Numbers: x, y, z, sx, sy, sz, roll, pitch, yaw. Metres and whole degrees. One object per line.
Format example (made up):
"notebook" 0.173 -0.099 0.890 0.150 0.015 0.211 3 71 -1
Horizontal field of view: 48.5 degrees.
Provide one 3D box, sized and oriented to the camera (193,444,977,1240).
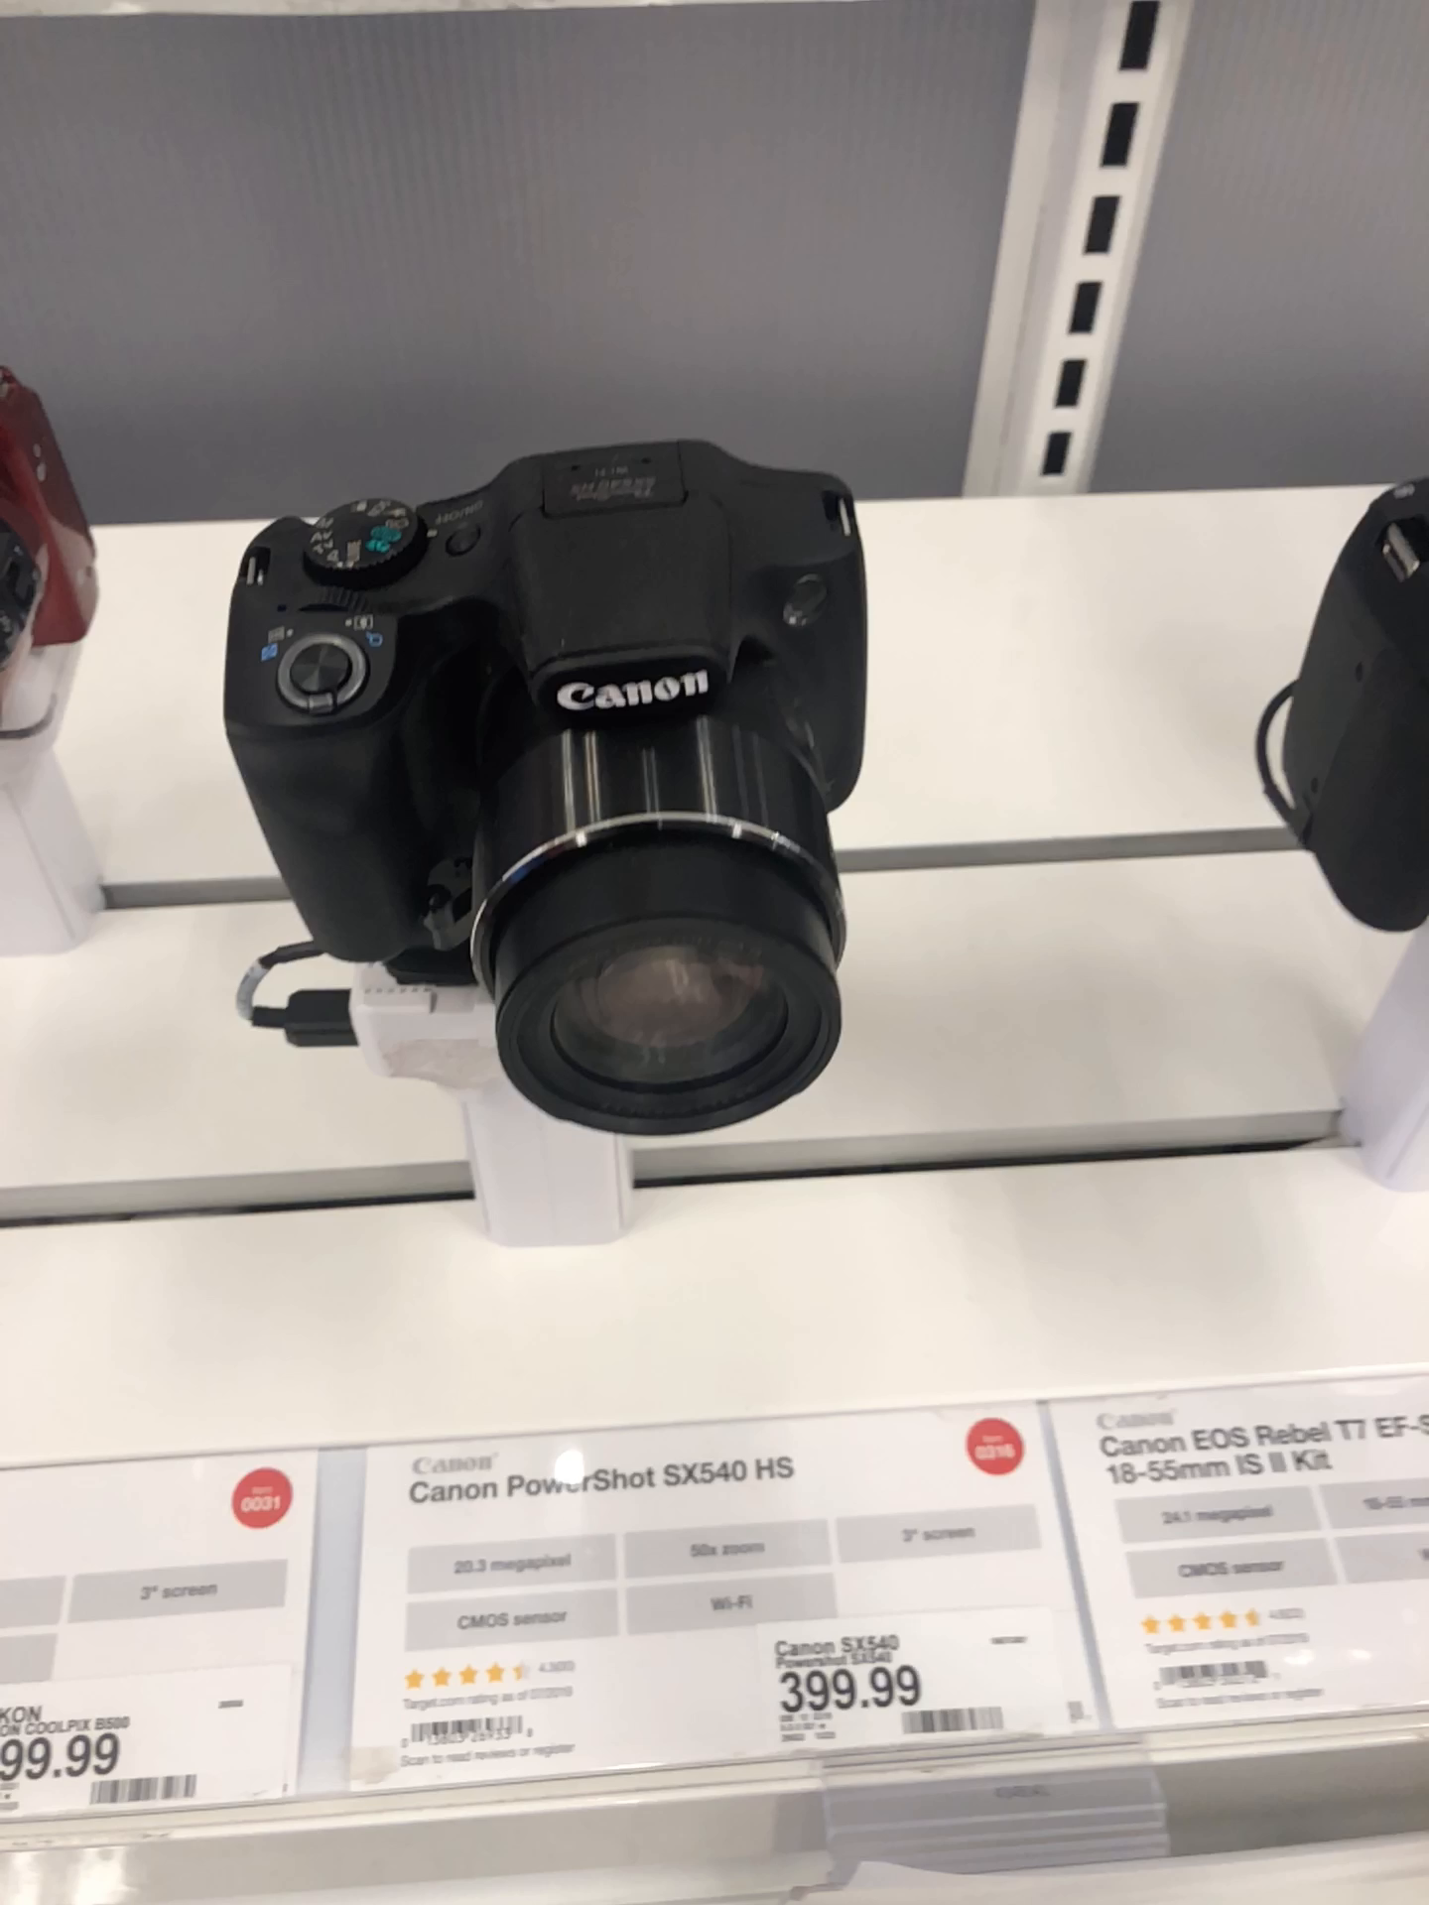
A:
"camera" -0.022 -0.020 0.263 0.100 0.076 0.099 -5 51 -5
